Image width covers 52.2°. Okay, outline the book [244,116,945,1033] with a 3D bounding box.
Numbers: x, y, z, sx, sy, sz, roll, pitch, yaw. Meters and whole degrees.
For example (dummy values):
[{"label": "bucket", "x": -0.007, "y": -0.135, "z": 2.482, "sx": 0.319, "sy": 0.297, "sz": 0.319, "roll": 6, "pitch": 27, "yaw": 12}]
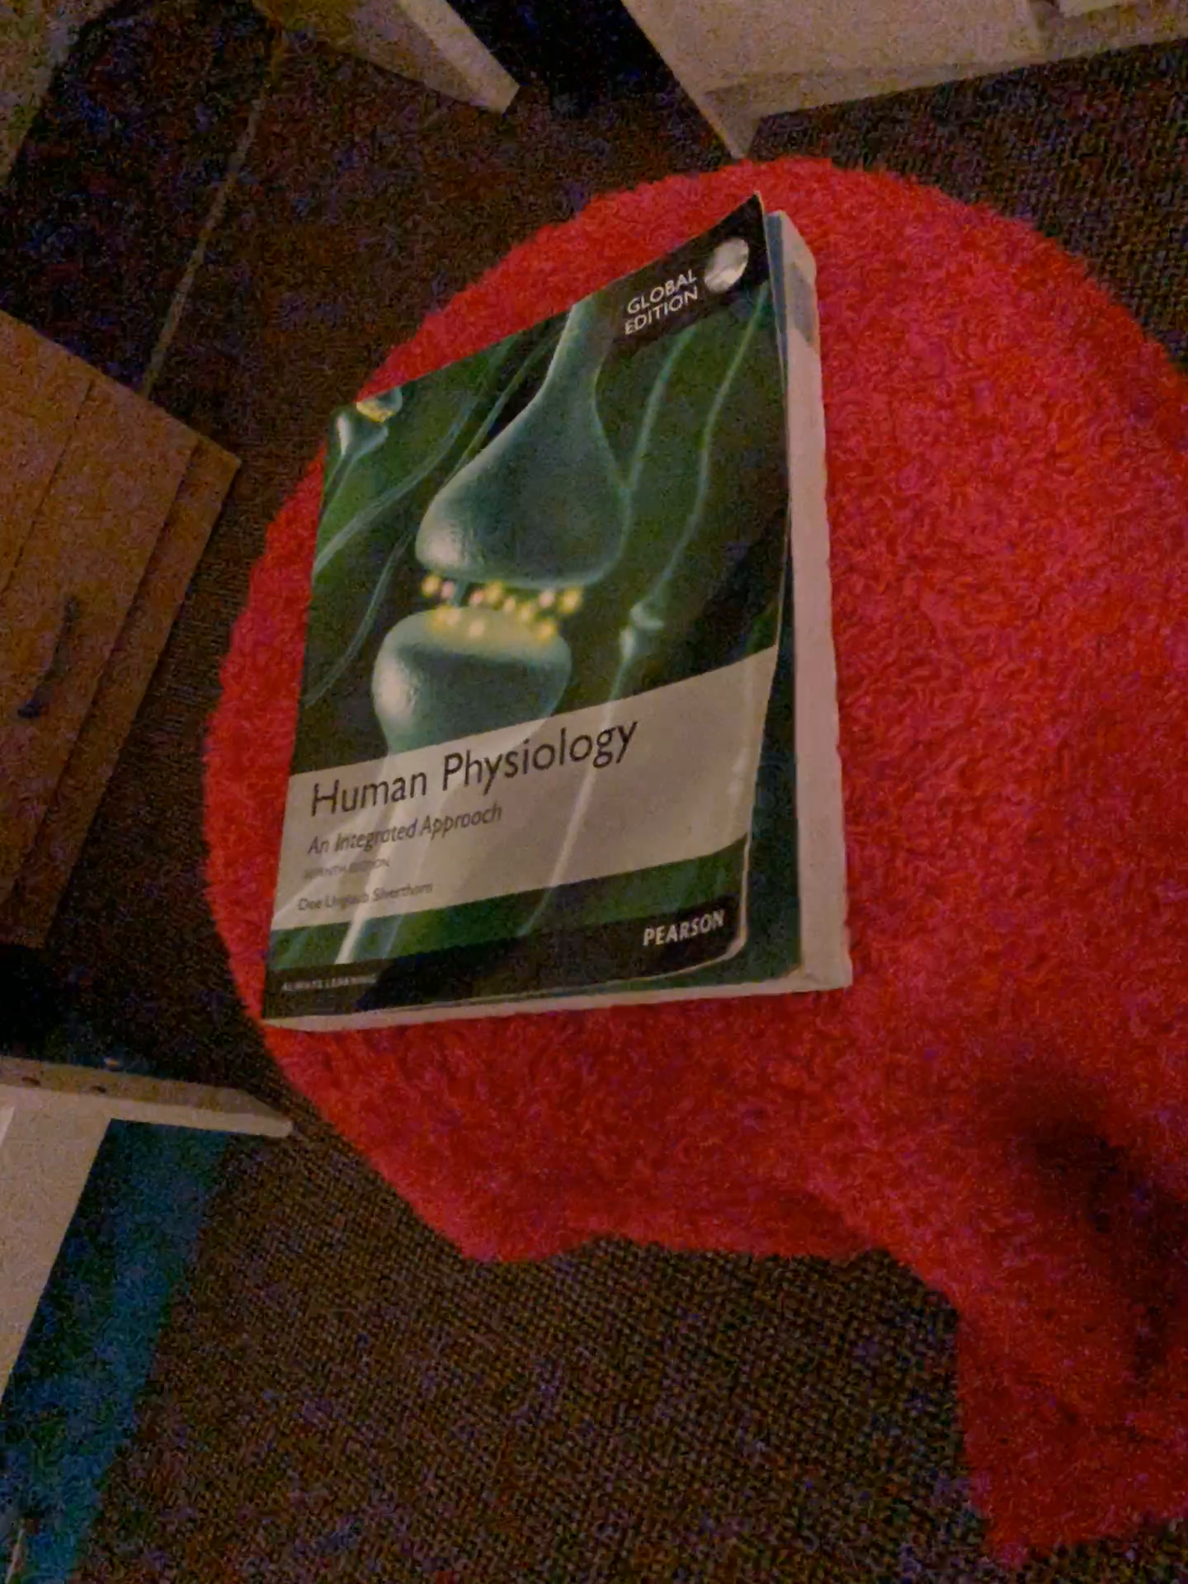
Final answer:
[{"label": "book", "x": -0.007, "y": -0.069, "z": 0.475, "sx": 0.251, "sy": 0.069, "sz": 0.301, "roll": -12, "pitch": 65, "yaw": 34}]
